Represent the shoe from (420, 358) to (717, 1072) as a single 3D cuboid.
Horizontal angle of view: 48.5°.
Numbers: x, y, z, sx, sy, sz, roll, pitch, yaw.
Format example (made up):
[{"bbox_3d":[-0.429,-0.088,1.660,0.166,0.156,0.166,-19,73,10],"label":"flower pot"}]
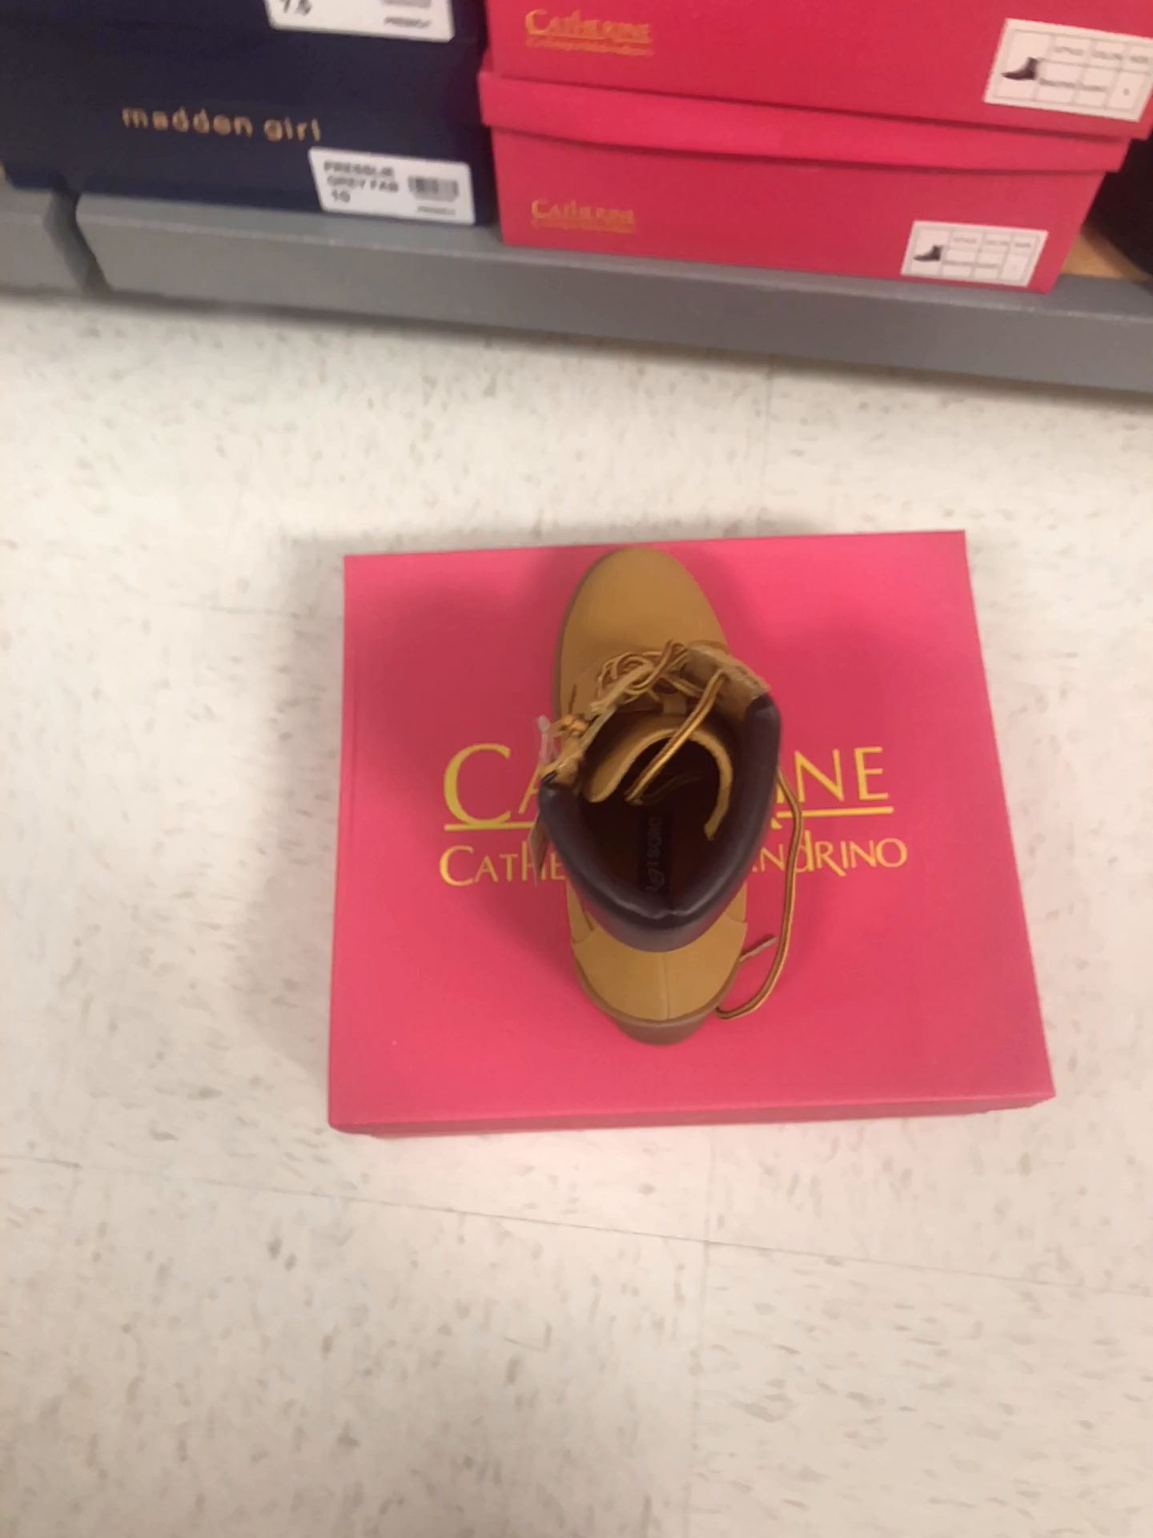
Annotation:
[{"bbox_3d":[0.004,-0.010,0.485,0.085,0.170,0.217,1,68,2],"label":"shoe"}]
